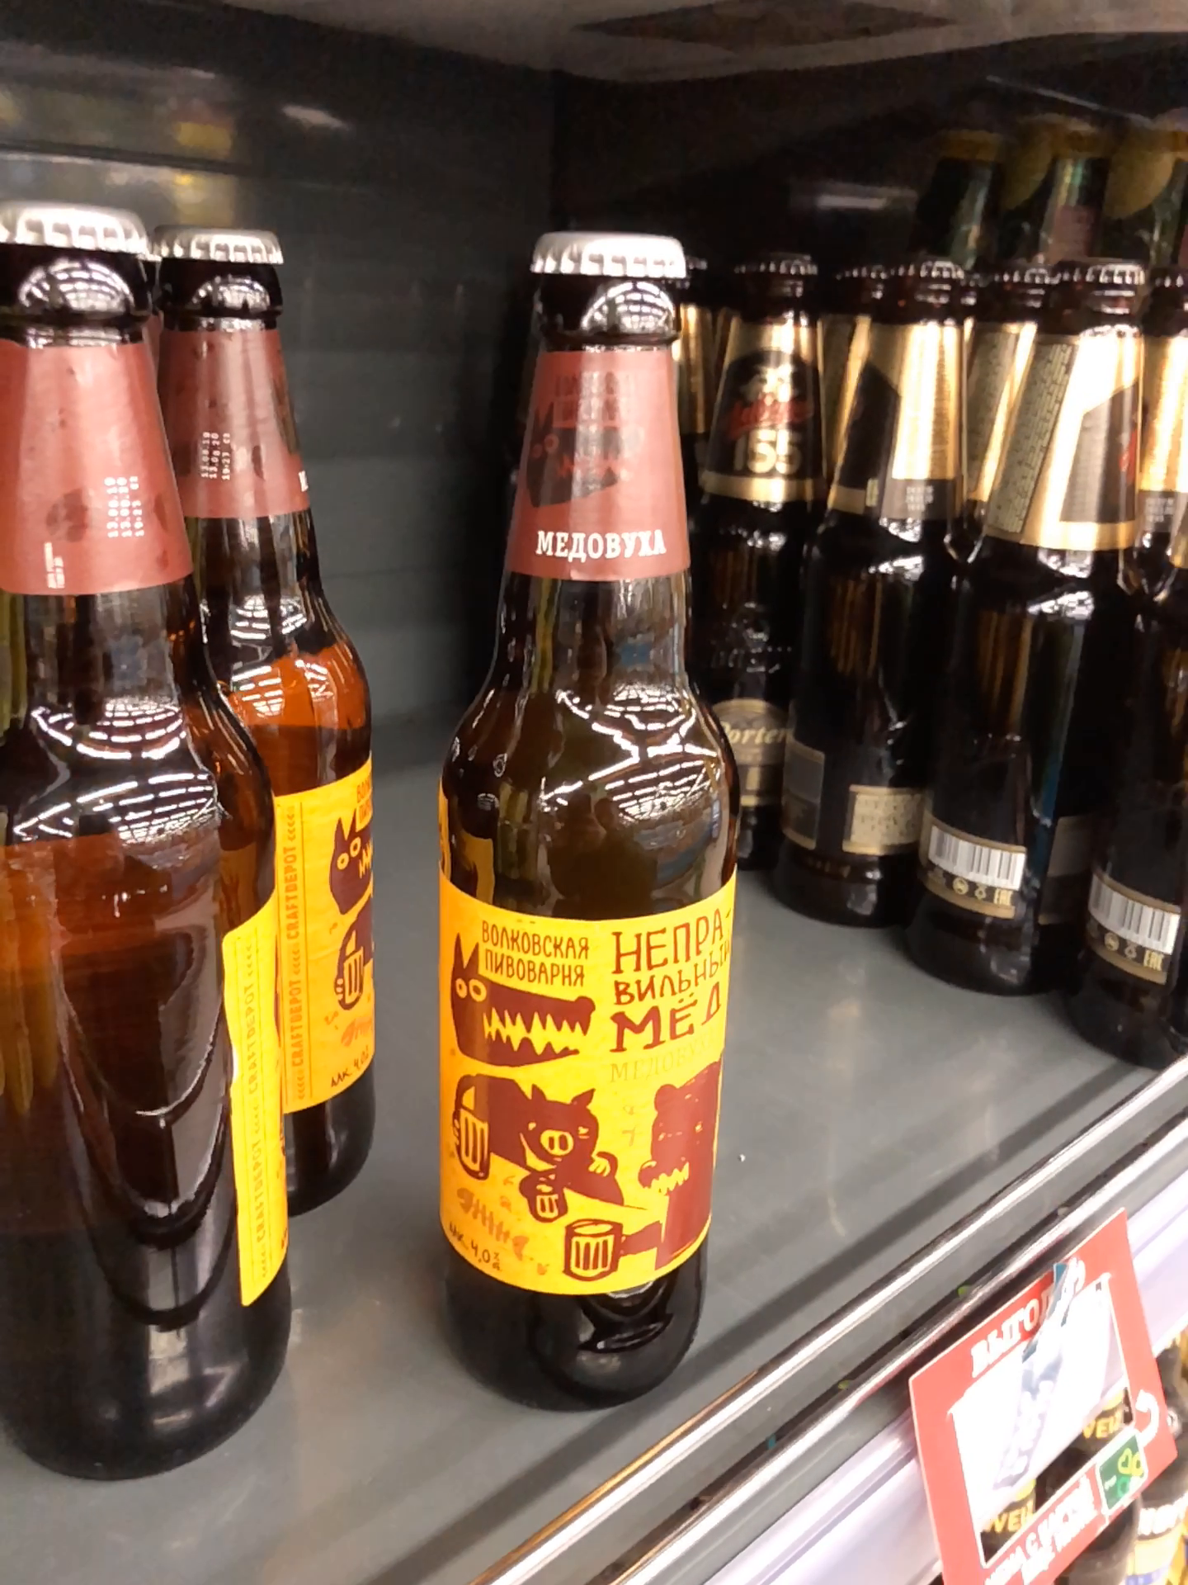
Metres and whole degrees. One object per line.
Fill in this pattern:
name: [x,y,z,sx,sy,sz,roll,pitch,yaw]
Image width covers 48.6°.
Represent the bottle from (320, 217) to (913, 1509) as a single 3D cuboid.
bottle: [-0.001,0.014,0.277,0.080,0.243,0.070,-16,28,-42]
